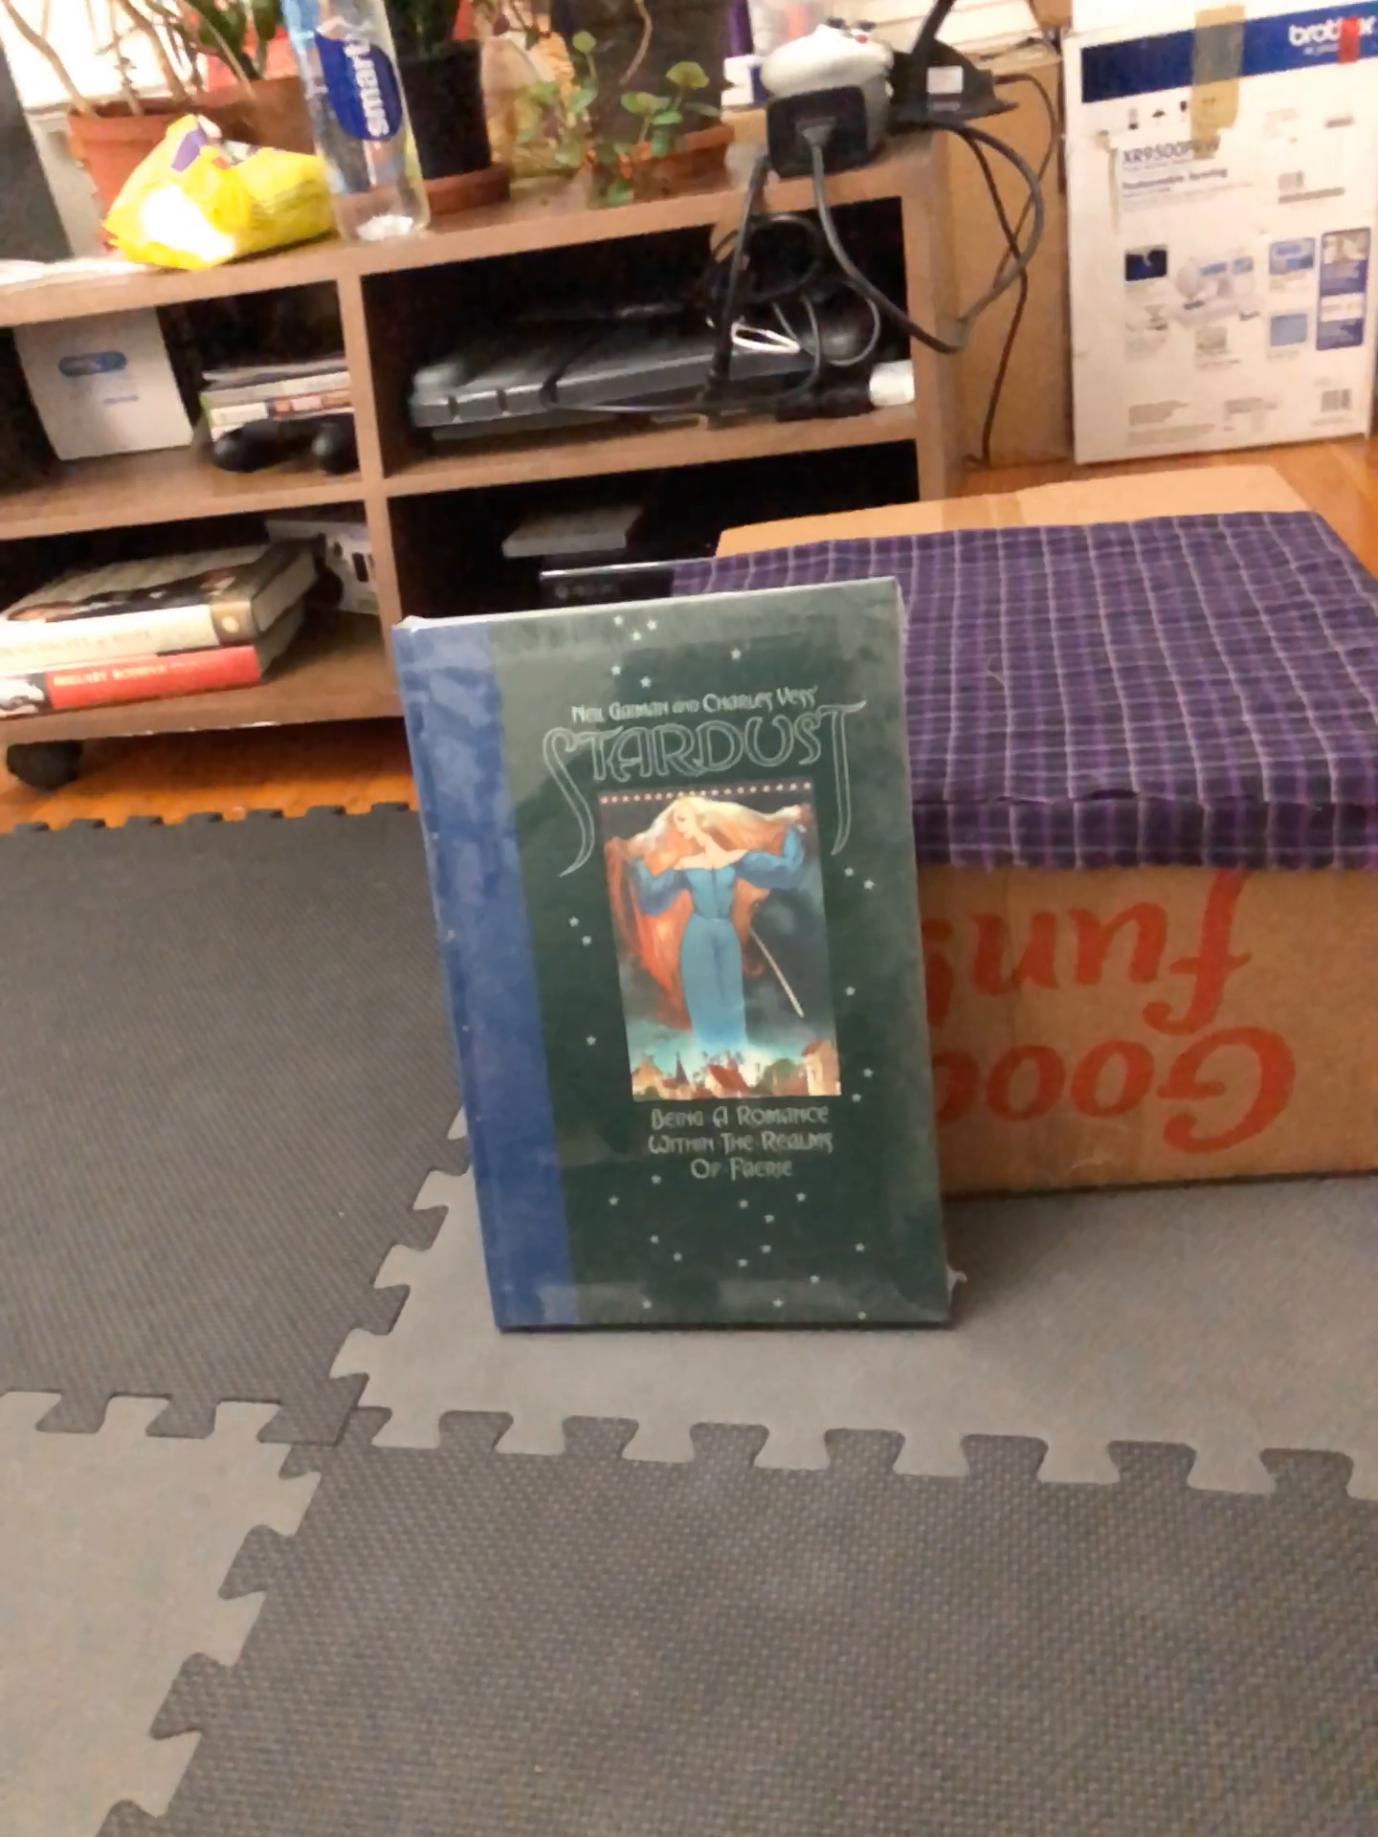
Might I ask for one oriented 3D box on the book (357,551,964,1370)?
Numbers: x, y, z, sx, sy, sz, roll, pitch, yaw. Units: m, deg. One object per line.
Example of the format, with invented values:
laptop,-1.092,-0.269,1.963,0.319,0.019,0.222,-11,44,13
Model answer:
book,-0.007,0.030,0.620,0.210,0.329,0.020,-4,13,12
